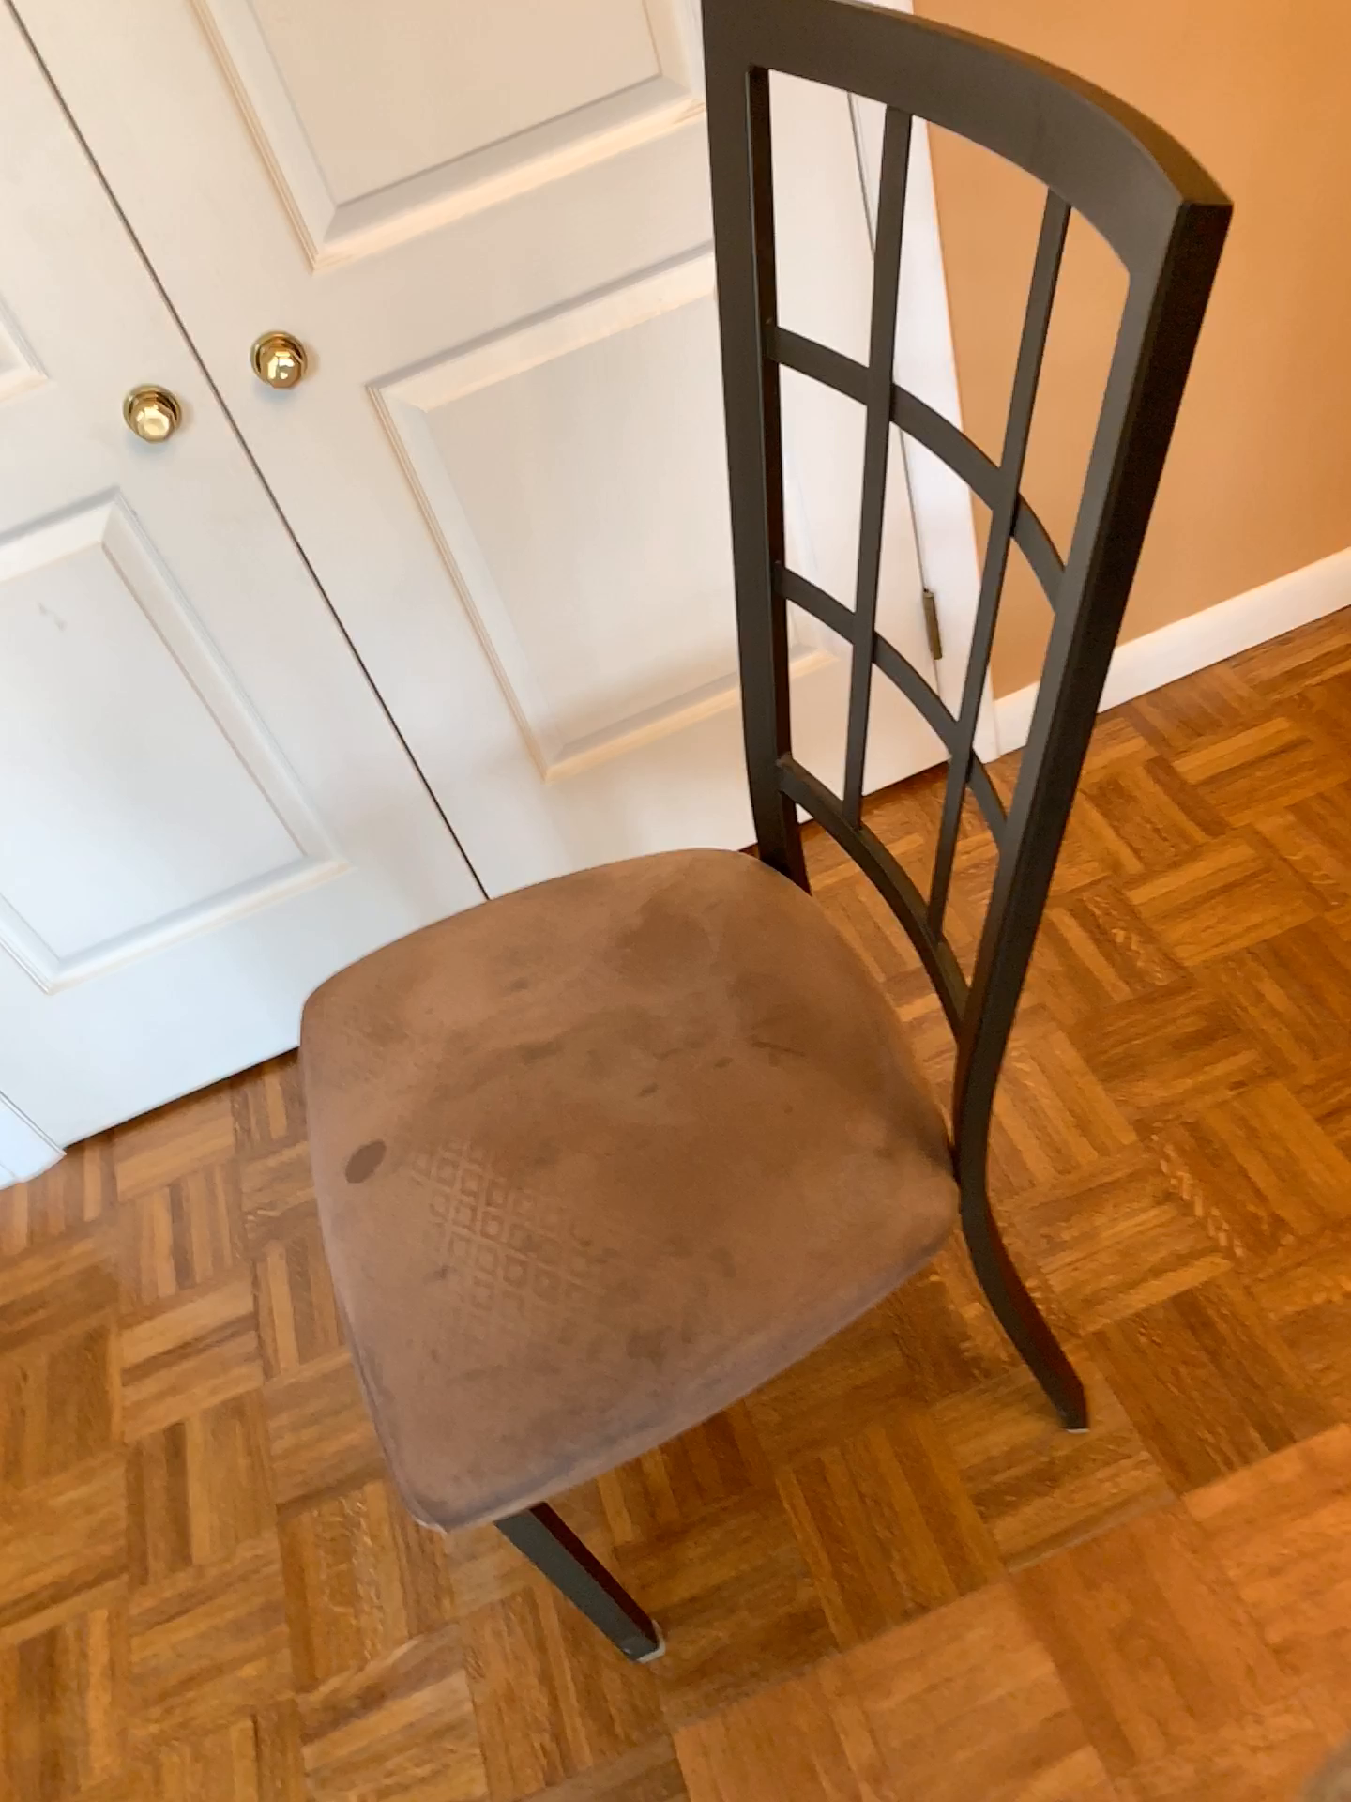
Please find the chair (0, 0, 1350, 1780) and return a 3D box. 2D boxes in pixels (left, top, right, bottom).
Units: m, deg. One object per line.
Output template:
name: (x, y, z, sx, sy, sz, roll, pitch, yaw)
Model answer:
chair: (-0.033, 0.050, 0.901, 0.620, 0.984, 0.513, -22, 45, -5)
